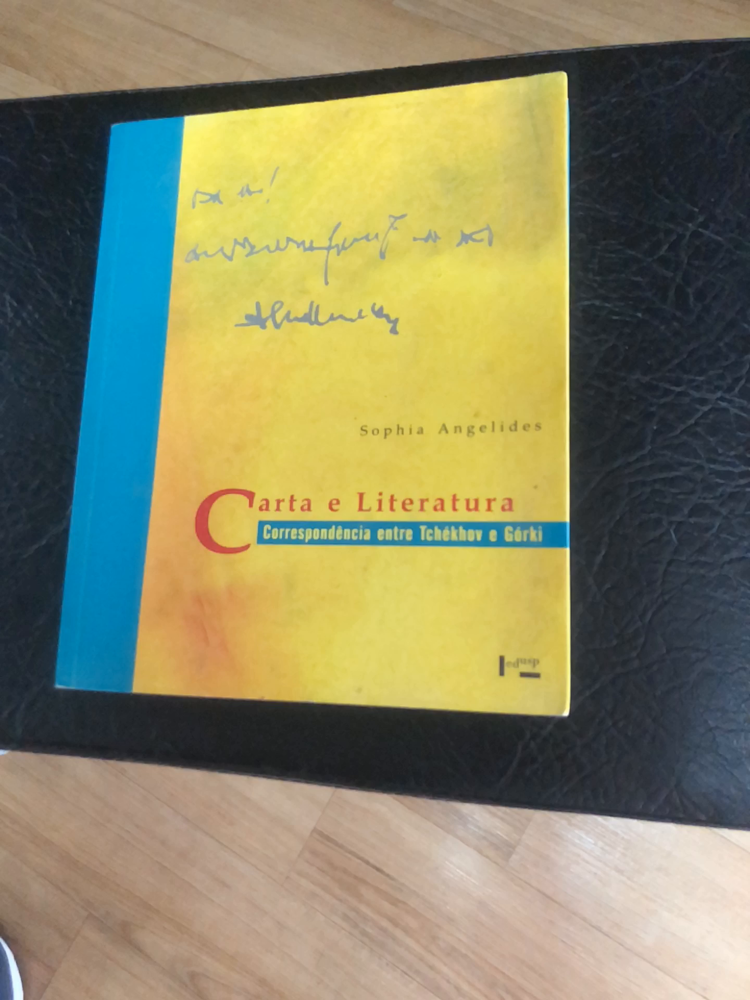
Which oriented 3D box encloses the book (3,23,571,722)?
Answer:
[{"bbox_3d":[-0.026,-0.042,0.269,0.173,0.024,0.208,0,80,14],"label":"book"}]
